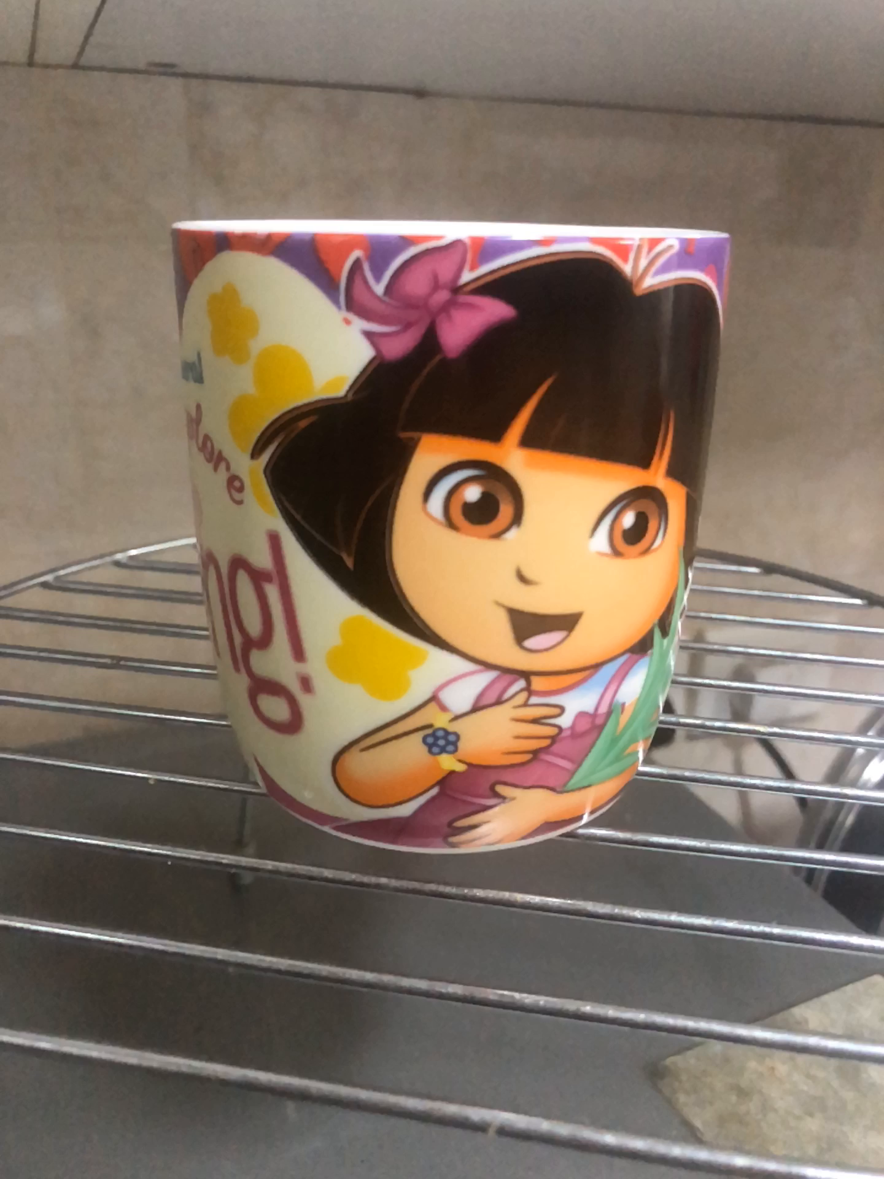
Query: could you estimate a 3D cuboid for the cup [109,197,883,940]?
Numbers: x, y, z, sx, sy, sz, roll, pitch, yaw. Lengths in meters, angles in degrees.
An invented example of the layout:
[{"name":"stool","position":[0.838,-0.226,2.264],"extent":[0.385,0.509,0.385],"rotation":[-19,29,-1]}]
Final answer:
[{"name":"cup","position":[0.017,-0.019,0.178],"extent":[0.120,0.090,0.070],"rotation":[-17,28,-42]}]
